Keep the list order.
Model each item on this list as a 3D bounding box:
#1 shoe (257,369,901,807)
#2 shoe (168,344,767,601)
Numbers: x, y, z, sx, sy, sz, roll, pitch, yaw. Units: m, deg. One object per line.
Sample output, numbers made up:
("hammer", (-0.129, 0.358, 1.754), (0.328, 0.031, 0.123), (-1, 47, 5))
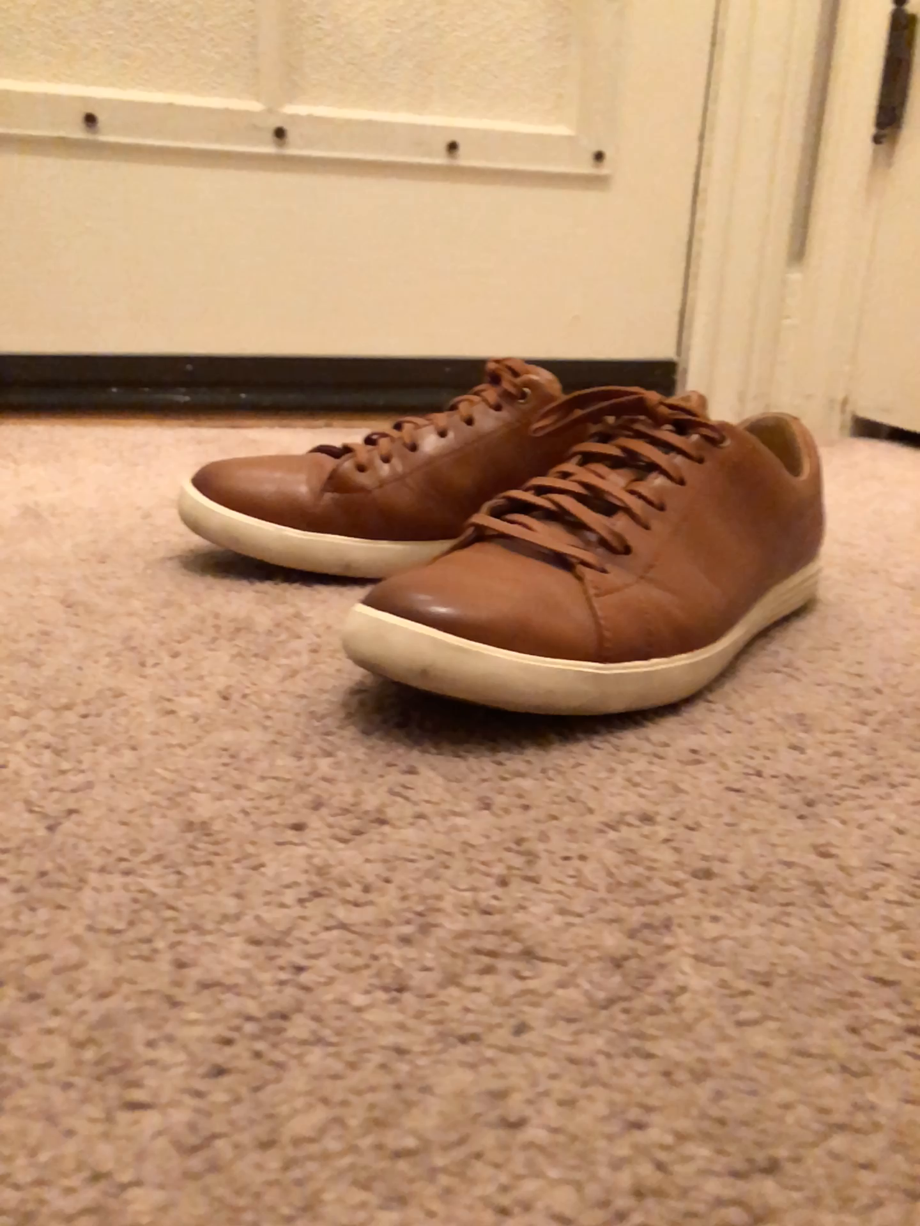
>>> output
("shoe", (0.067, -0.037, 0.419), (0.117, 0.100, 0.286), (17, 24, 36))
("shoe", (-0.001, -0.082, 0.539), (0.285, 0.102, 0.118), (-4, 20, -18))
